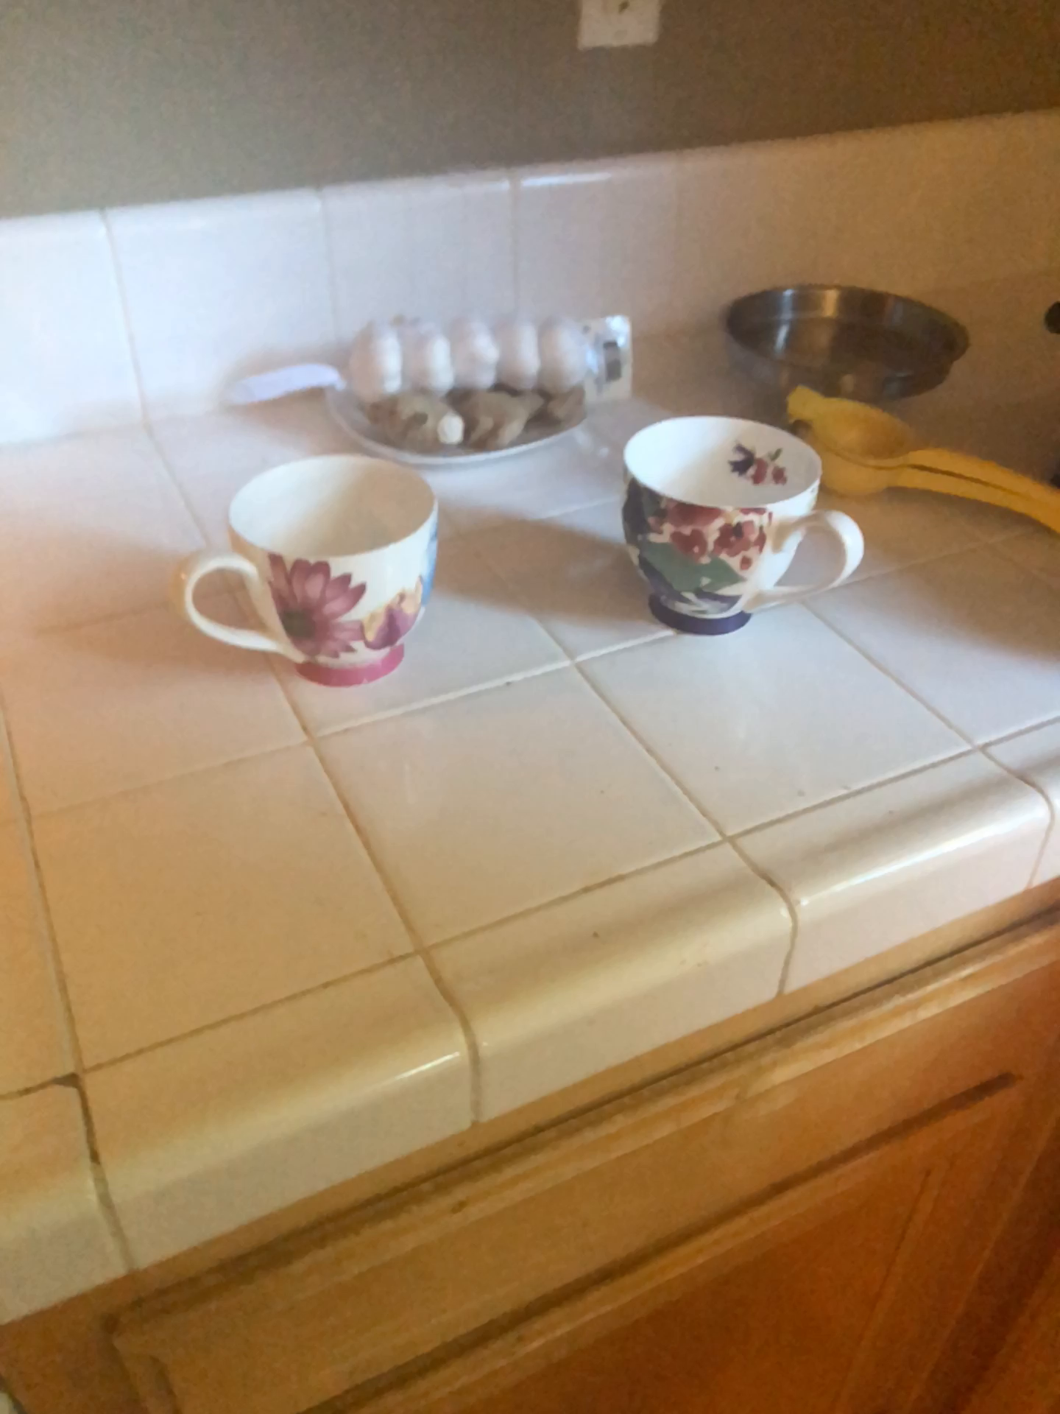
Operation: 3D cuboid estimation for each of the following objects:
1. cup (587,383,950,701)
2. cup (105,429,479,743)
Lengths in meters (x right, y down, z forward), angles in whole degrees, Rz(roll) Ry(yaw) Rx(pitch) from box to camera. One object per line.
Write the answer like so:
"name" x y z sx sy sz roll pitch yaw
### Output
"cup" 0.124 -0.097 0.644 0.111 0.089 0.151 -26 46 -30
"cup" -0.119 -0.068 0.601 0.151 0.079 0.111 -20 43 -25
